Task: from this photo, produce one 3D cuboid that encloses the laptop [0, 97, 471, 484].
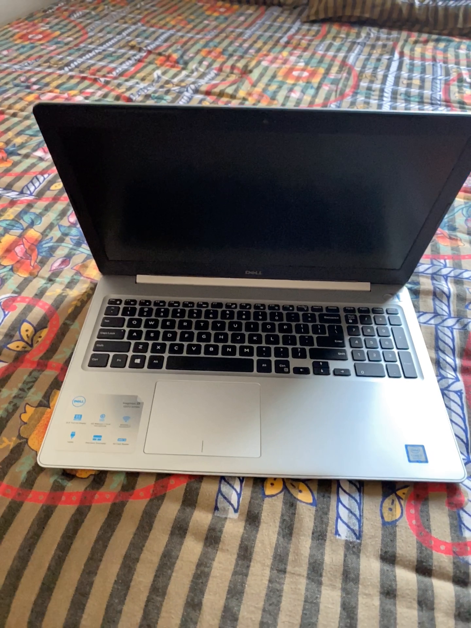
[{"bbox_3d":[0.017,-0.019,0.416,0.373,0.231,0.210,3,46,1],"label":"laptop"}]
